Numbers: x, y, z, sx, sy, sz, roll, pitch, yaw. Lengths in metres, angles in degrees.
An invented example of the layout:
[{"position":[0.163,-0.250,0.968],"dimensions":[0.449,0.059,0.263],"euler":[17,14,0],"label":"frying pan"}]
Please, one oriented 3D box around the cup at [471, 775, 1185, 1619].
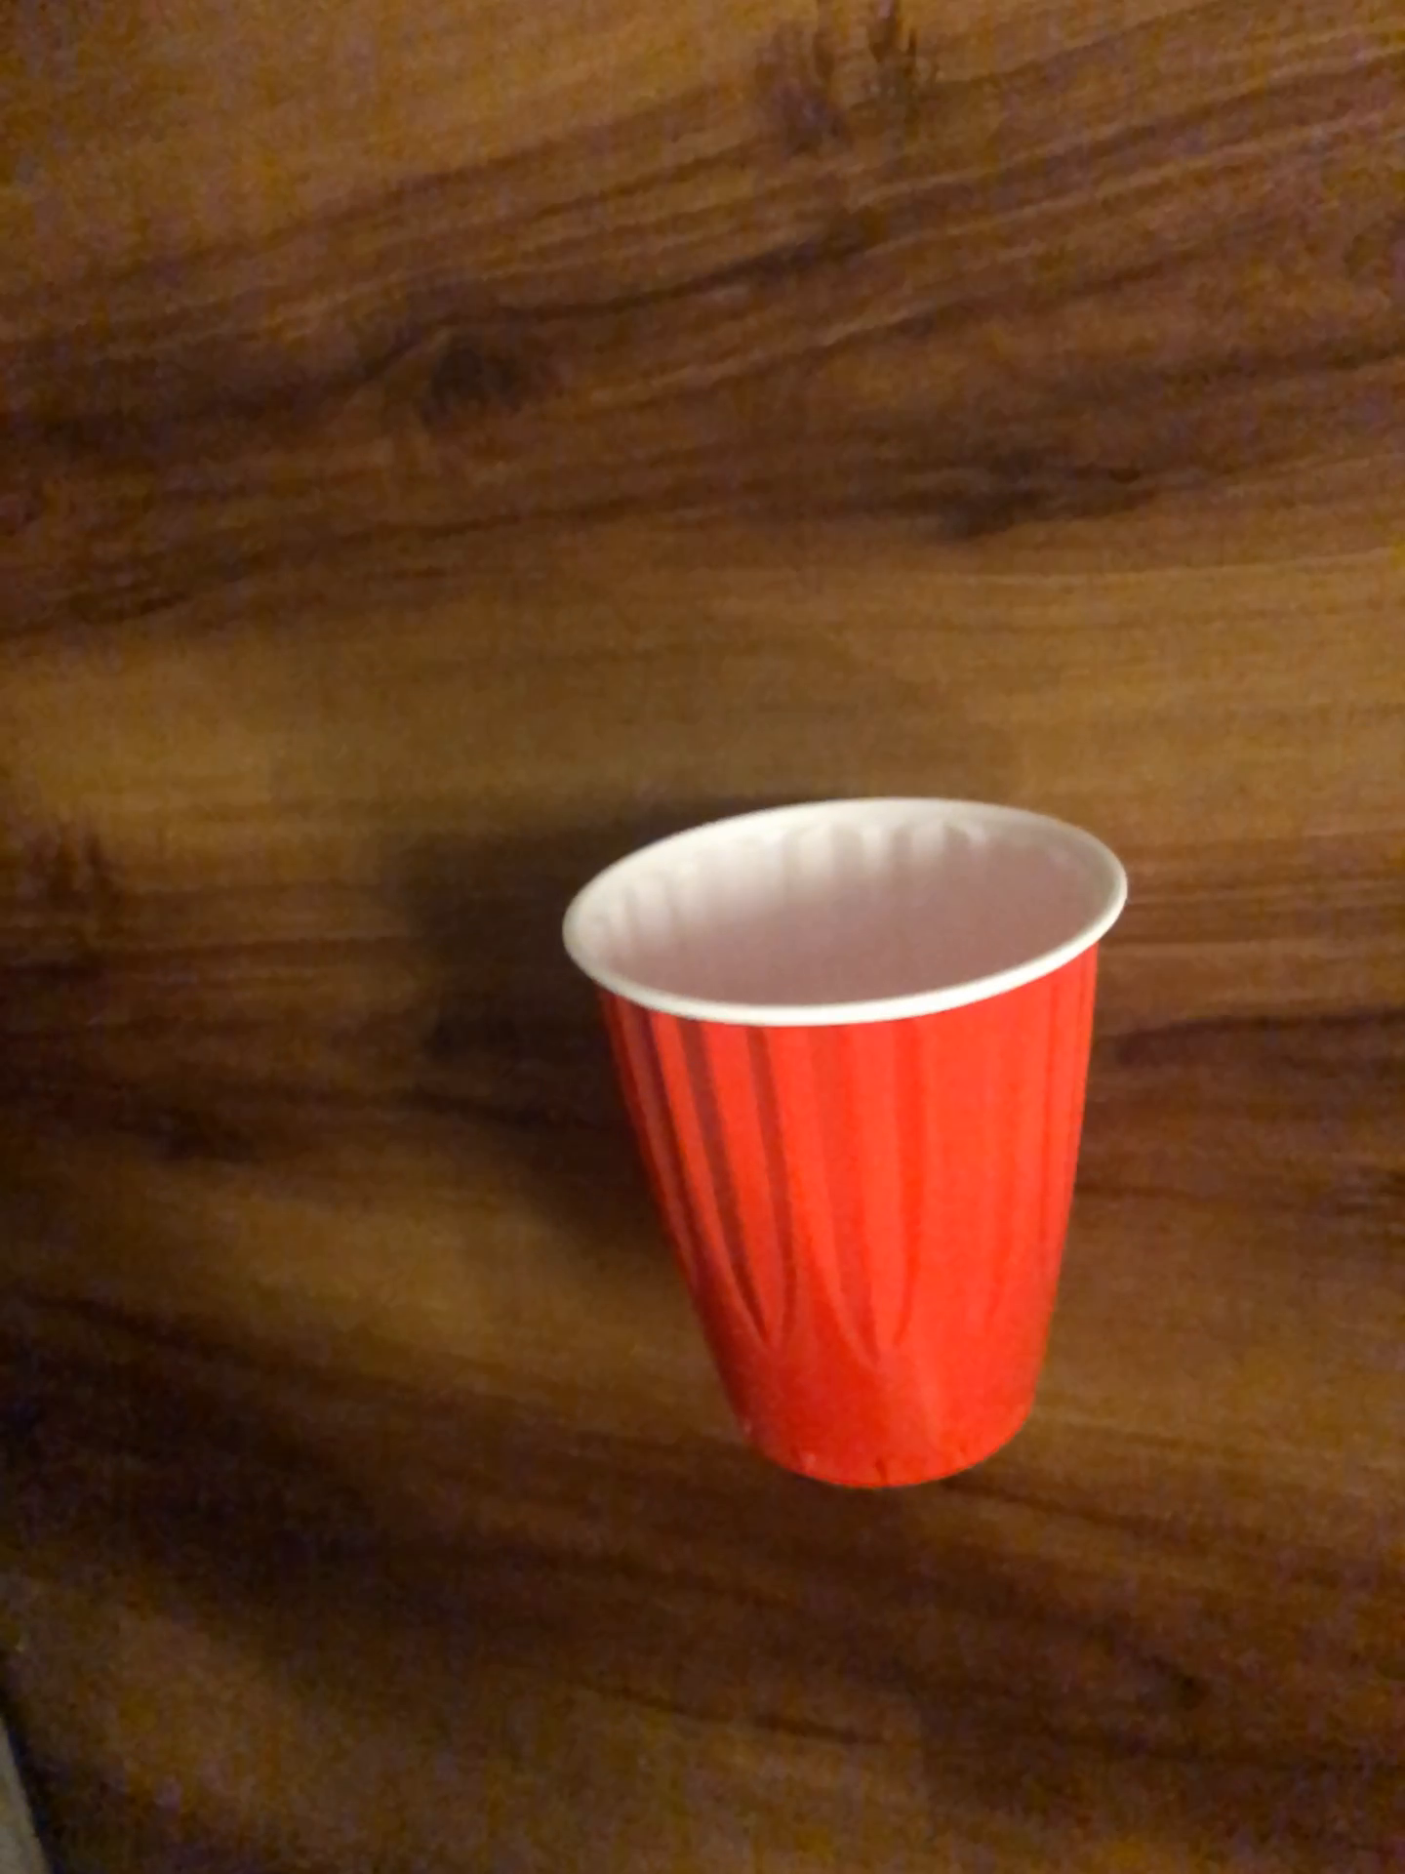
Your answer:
[{"position":[0.030,0.040,0.301],"dimensions":[0.099,0.089,0.115],"euler":[7,116,27],"label":"cup"}]
